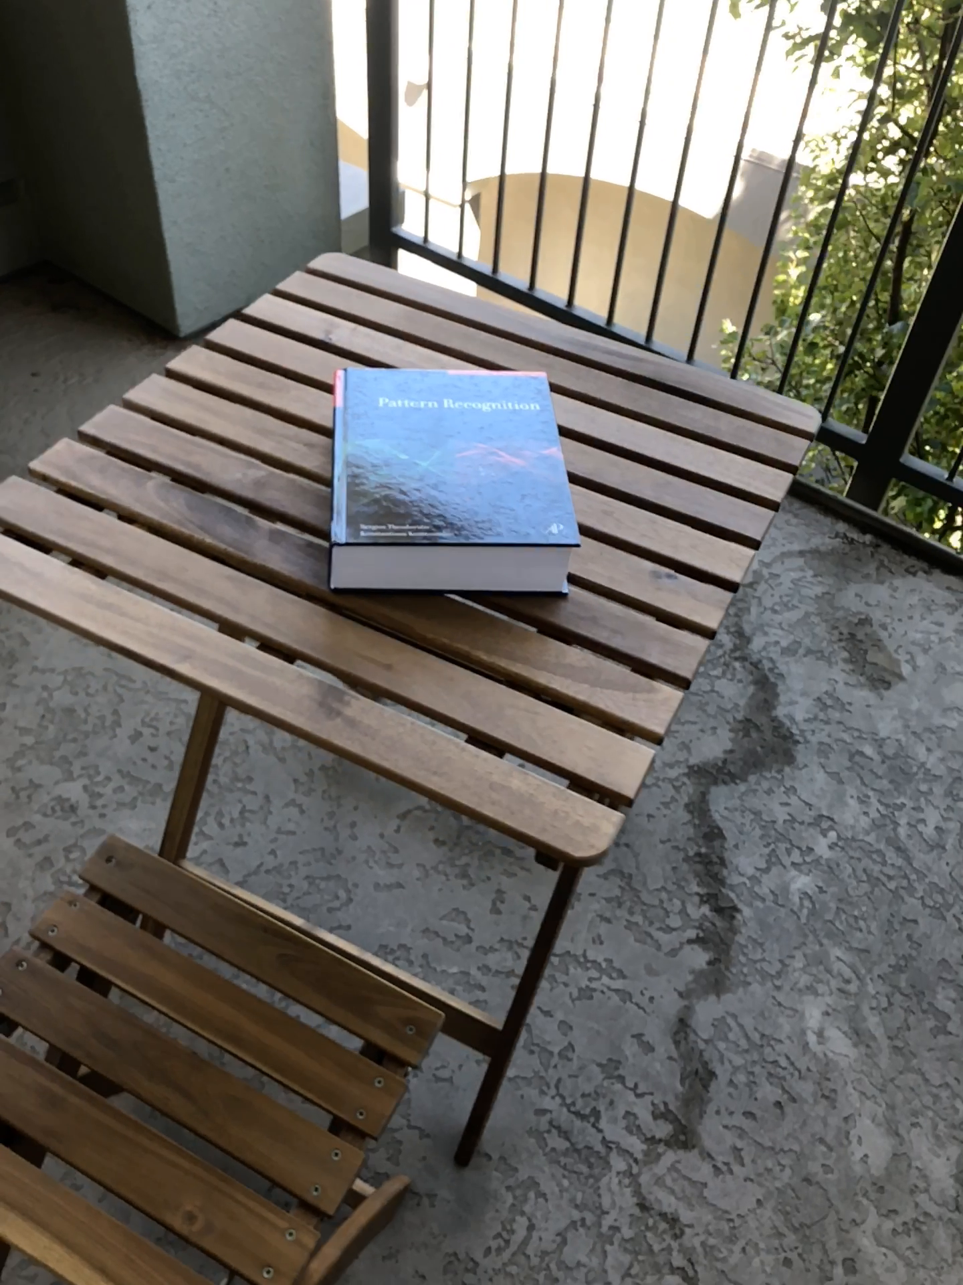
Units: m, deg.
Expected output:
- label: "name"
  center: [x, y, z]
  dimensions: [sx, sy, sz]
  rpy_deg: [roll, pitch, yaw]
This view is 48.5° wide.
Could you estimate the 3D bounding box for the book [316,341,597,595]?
- label: "book"
  center: [-0.026, -0.154, 0.907]
  dimensions: [0.210, 0.070, 0.251]
  rpy_deg: [0, 47, -5]
